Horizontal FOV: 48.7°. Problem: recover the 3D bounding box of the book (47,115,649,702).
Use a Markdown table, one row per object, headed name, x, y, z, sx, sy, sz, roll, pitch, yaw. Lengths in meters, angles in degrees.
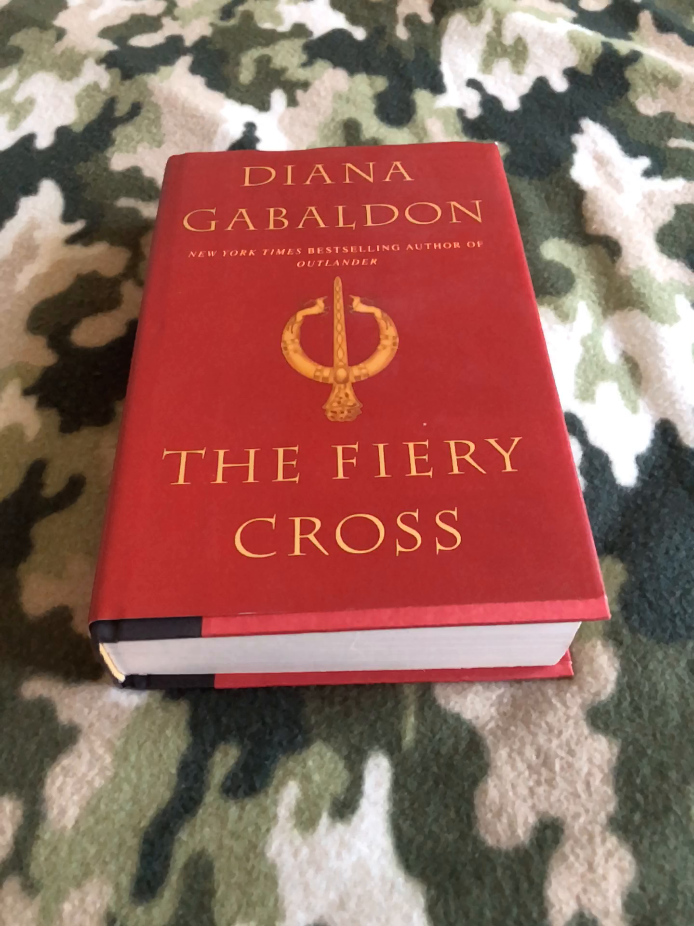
| name | x | y | z | sx | sy | sz | roll | pitch | yaw |
| --- | --- | --- | --- | --- | --- | --- | --- | --- | --- |
| book | -0.003 | -0.040 | 0.317 | 0.170 | 0.070 | 0.251 | -1 | 55 | -2 |
